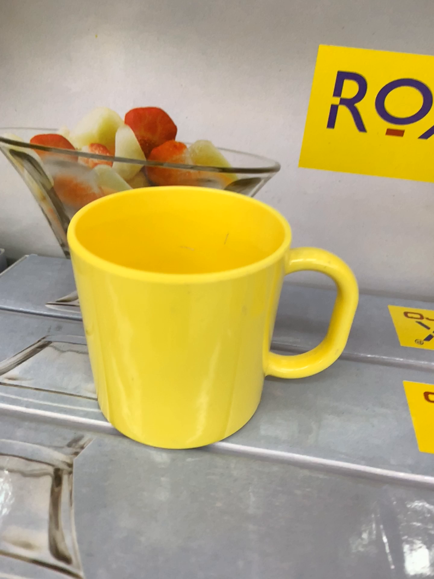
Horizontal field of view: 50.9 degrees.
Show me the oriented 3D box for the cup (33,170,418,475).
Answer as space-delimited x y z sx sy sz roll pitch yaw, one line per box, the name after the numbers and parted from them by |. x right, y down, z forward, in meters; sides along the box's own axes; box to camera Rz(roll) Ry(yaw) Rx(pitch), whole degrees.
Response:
0.000 0.010 0.168 0.100 0.079 0.071 4 32 -3 | cup
